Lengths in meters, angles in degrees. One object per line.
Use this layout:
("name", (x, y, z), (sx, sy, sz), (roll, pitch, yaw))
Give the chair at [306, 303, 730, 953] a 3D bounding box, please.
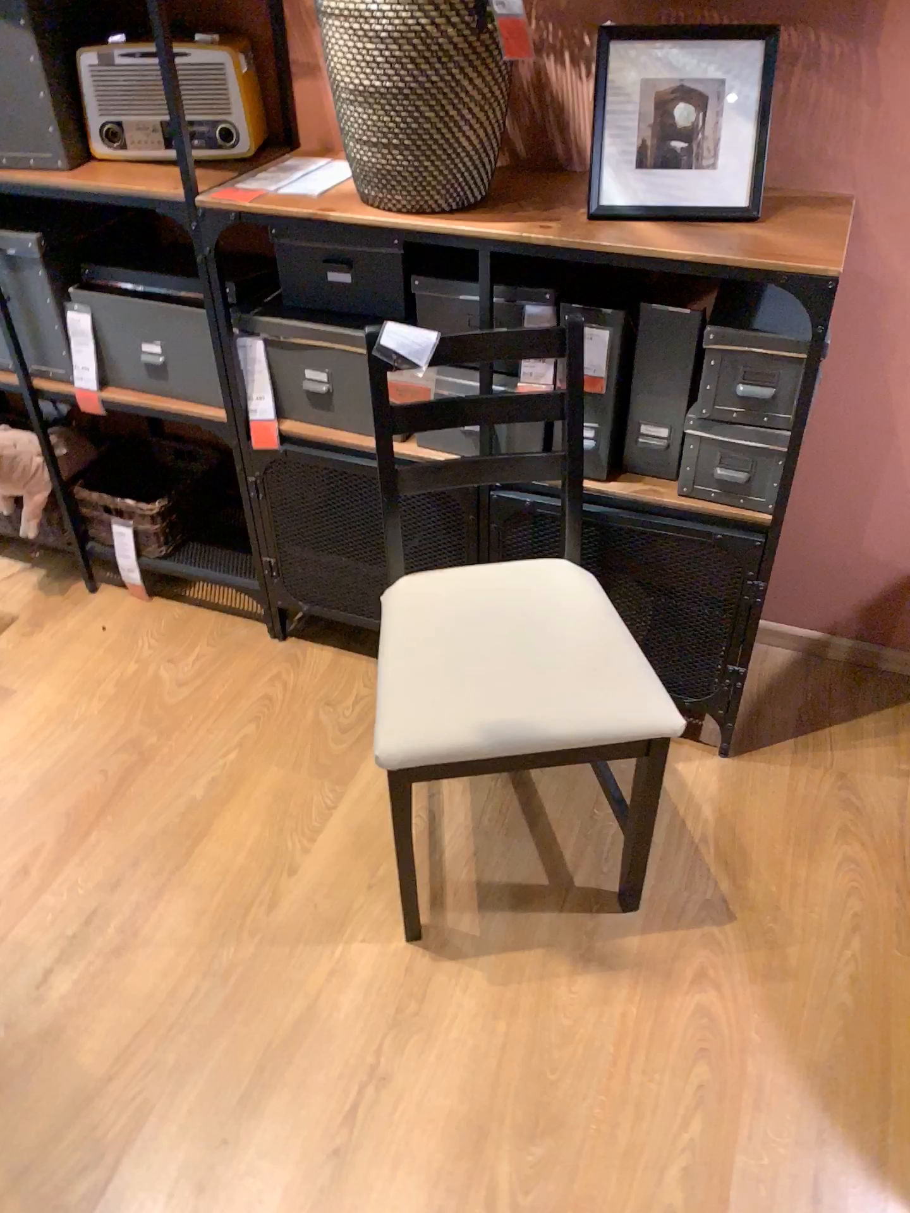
("chair", (0.045, 0.036, 1.391), (0.430, 0.767, 0.542), (-6, 39, -5))
